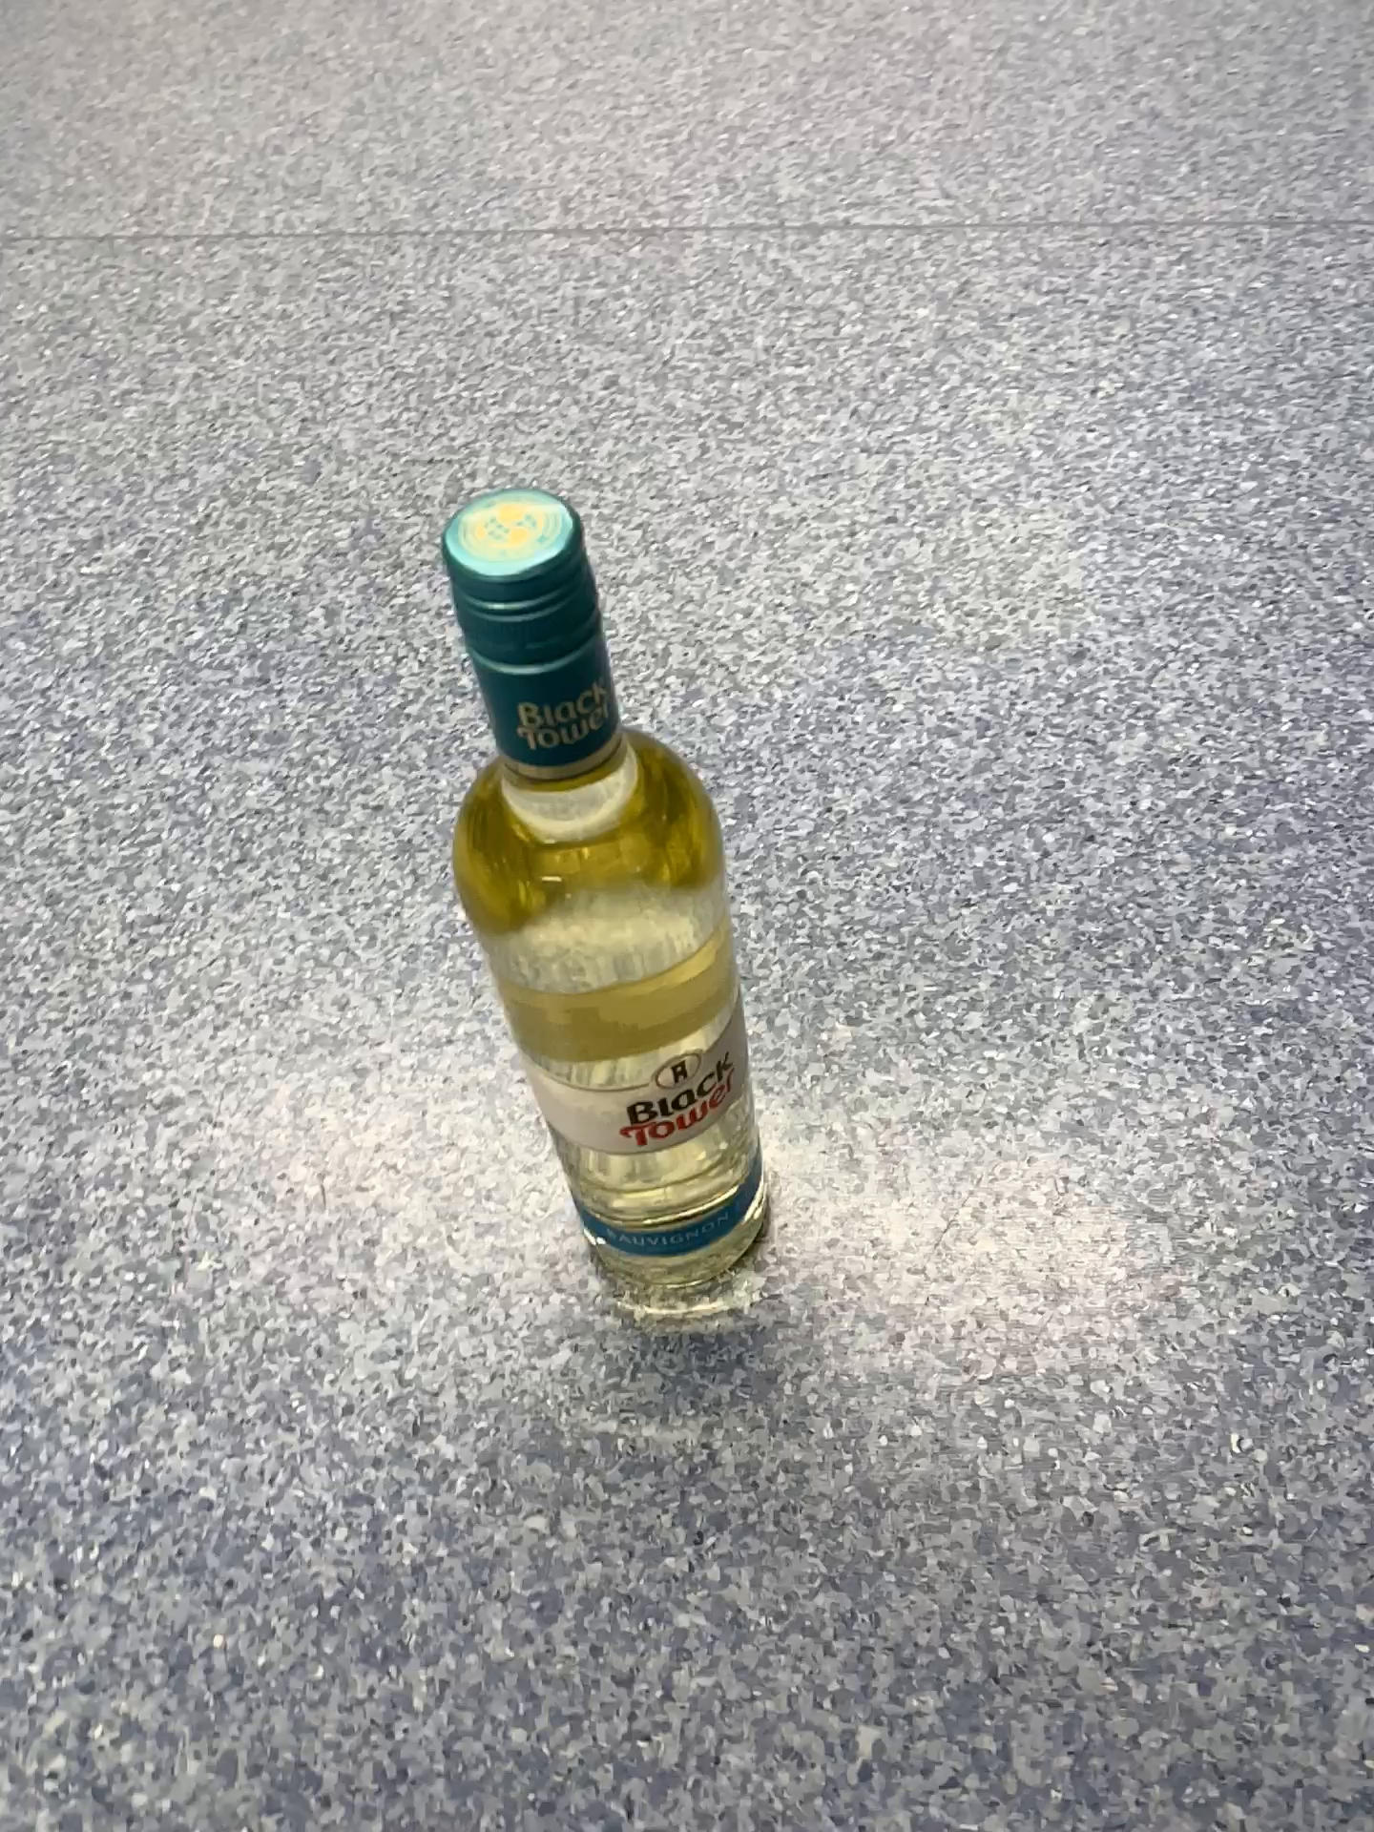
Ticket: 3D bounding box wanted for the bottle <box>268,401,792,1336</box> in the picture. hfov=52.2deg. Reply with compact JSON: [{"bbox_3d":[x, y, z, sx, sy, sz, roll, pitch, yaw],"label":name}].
[{"bbox_3d":[-0.024,0.017,0.401,0.071,0.306,0.065,-4,52,5],"label":"bottle"}]
